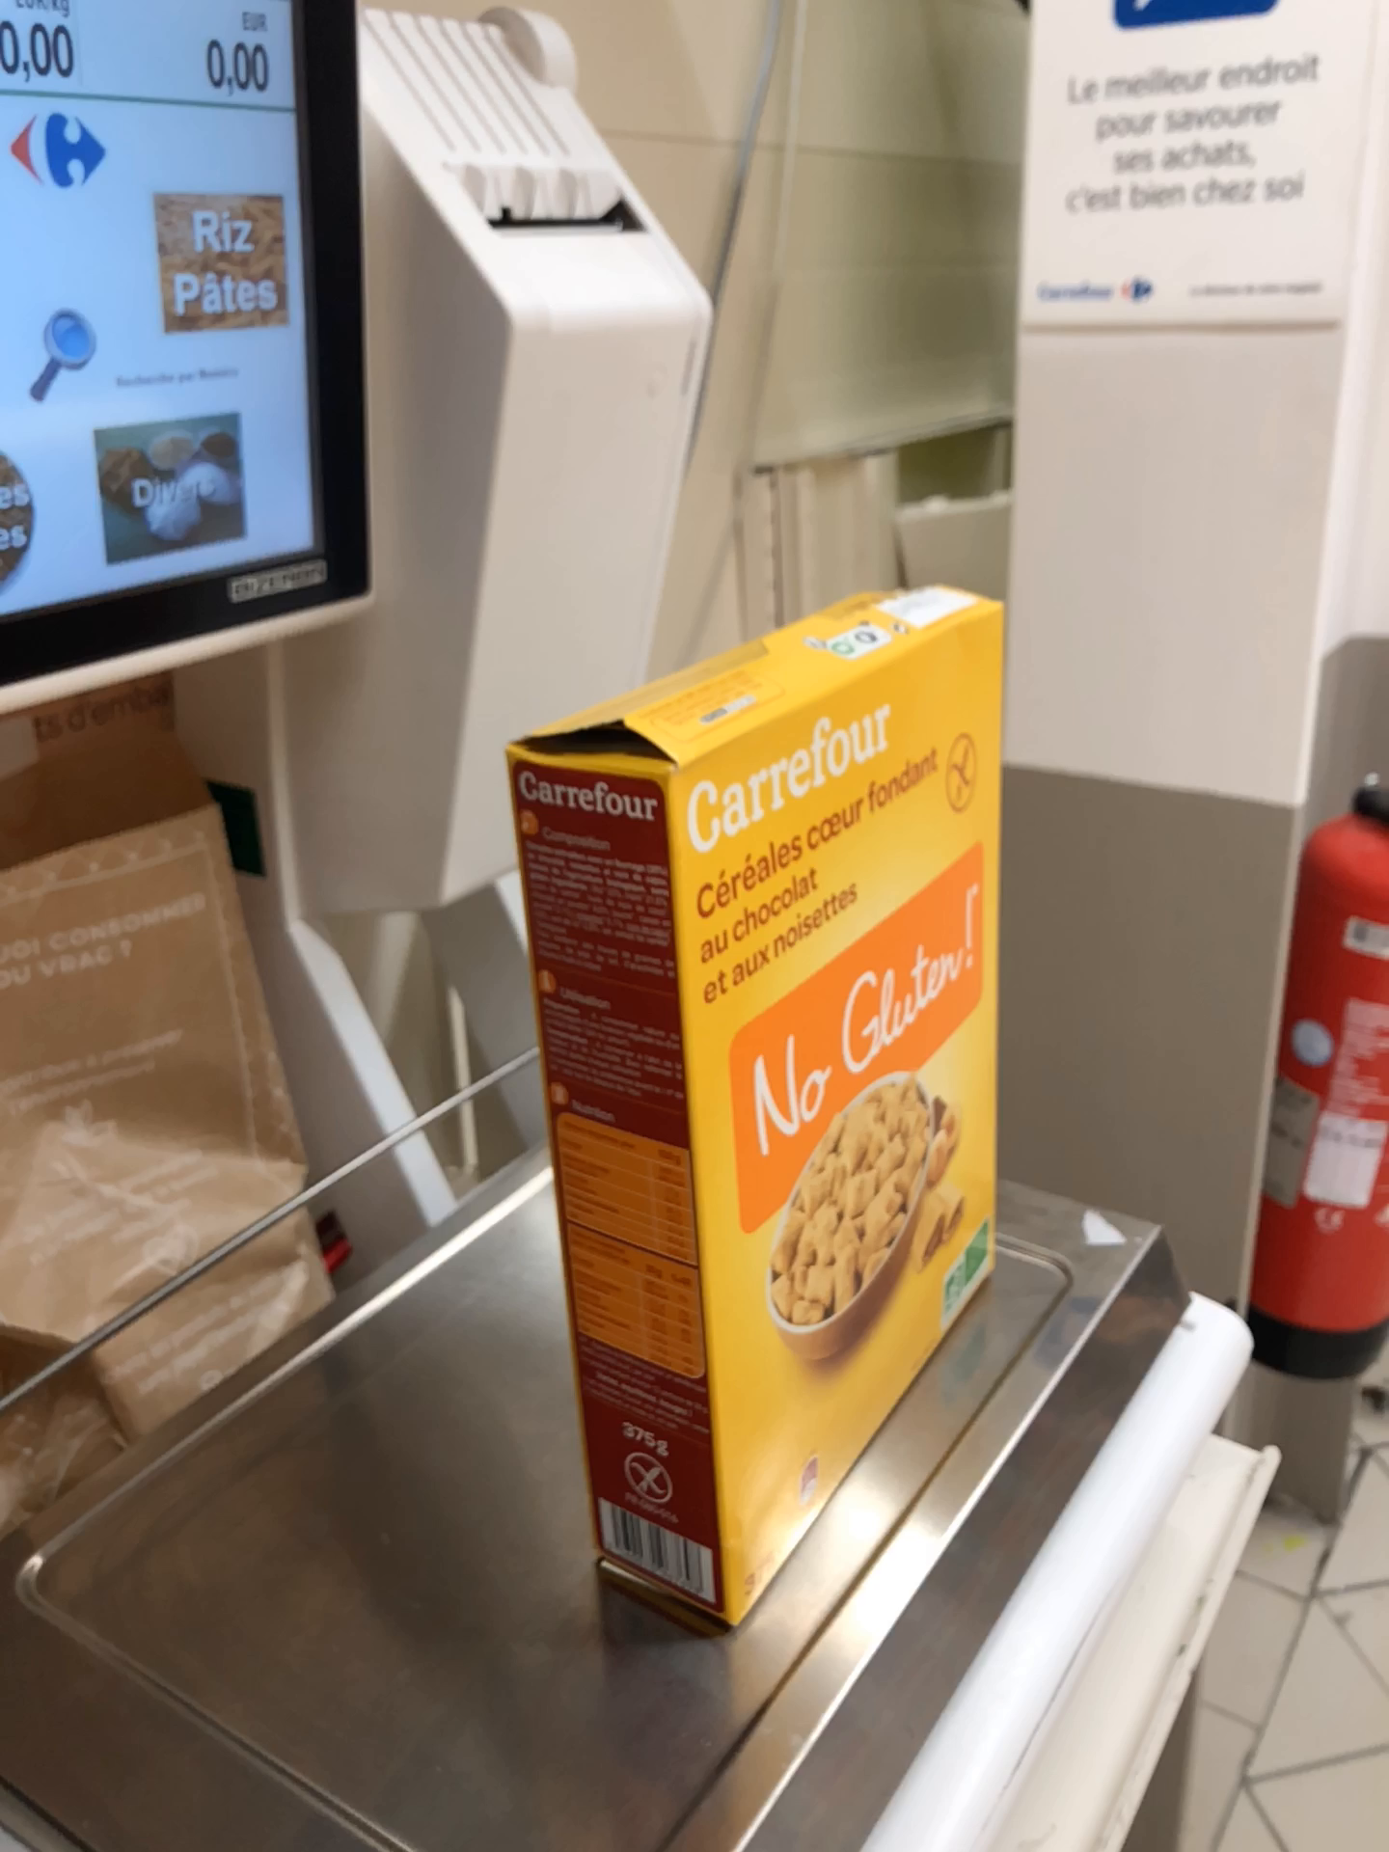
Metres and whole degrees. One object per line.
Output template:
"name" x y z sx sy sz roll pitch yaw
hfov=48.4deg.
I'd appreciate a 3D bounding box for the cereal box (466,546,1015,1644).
"cereal box" 0.031 0.036 0.475 0.060 0.269 0.201 10 25 30
